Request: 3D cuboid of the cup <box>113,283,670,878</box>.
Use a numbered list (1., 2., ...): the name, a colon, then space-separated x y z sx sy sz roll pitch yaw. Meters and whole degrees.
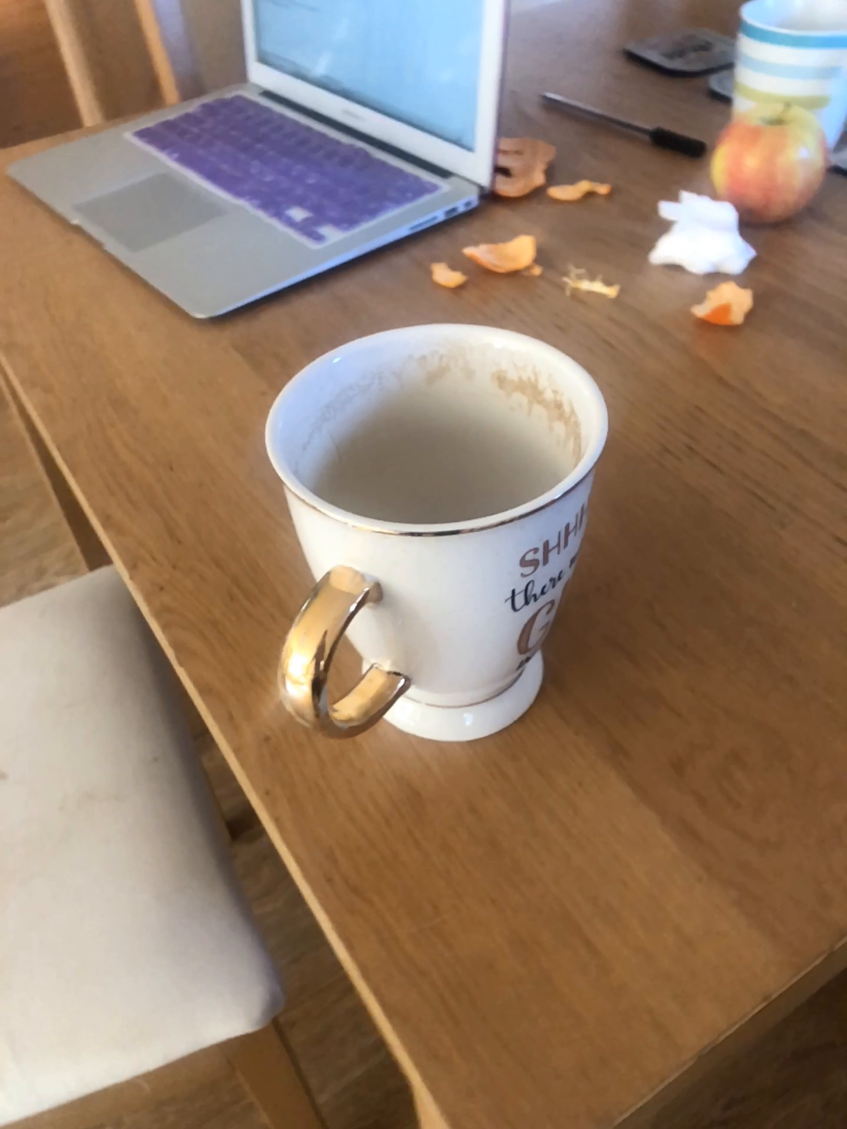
1. cup: -0.001 -0.002 0.317 0.109 0.111 0.135 22 51 24
